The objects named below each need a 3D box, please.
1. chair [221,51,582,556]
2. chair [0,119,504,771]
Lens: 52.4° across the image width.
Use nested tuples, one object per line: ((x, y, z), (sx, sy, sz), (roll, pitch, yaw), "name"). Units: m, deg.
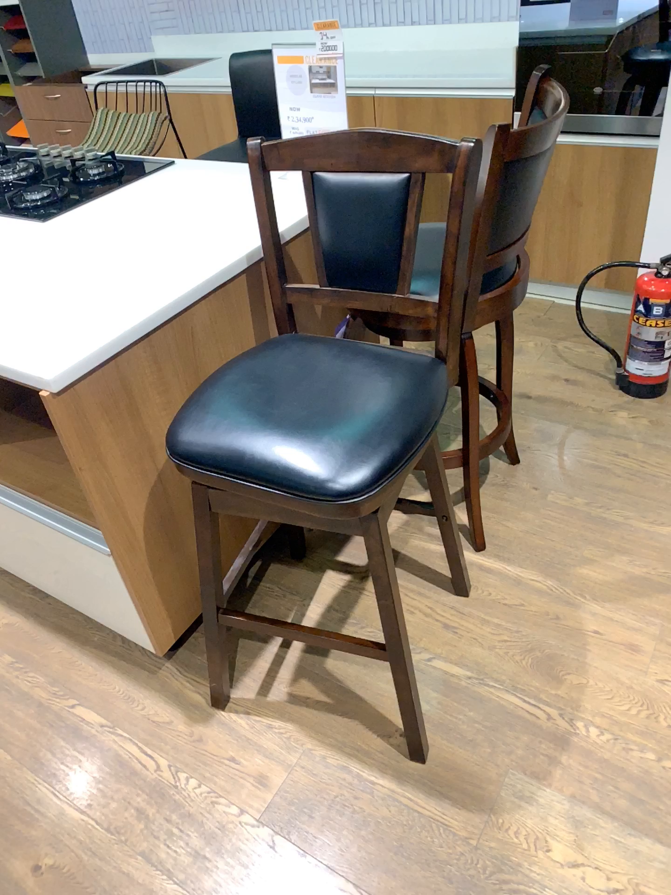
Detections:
((0.207, -0.352, 1.721), (0.571, 1.026, 0.551), (14, 42, 26), "chair")
((-0.037, 0.008, 1.304), (0.581, 1.026, 0.572), (7, 40, 19), "chair")
